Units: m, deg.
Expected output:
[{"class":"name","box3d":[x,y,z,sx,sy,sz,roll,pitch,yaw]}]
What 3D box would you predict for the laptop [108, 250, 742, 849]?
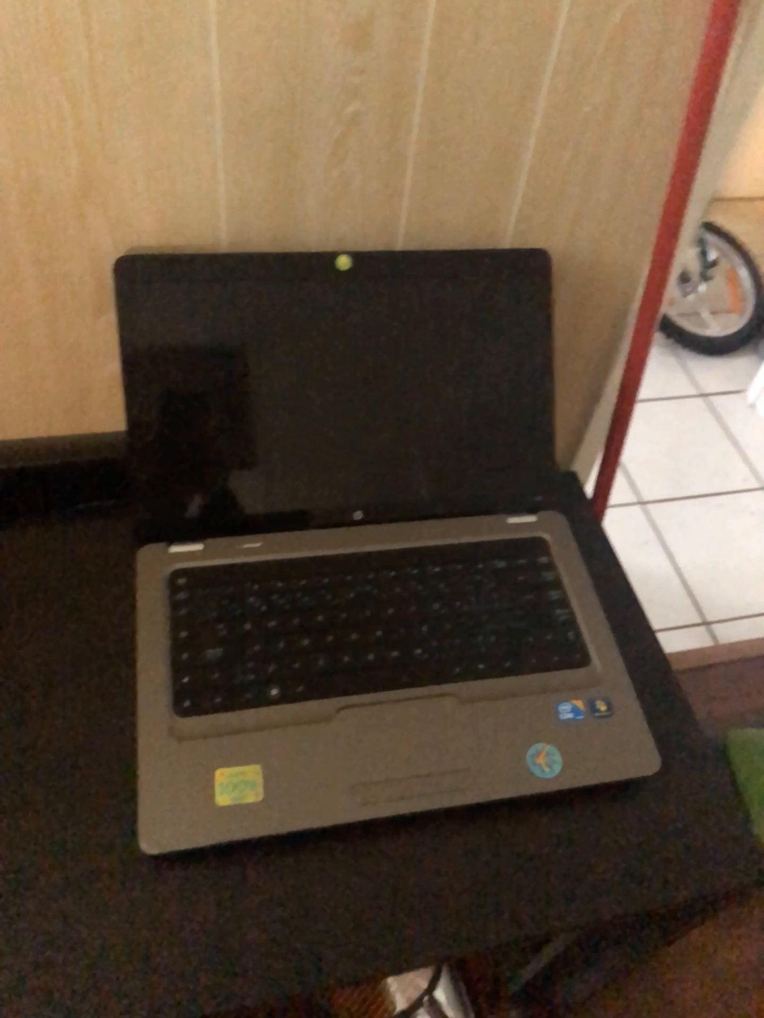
[{"class":"laptop","box3d":[-0.006,-0.005,0.649,0.363,0.154,0.420,-4,52,-11]}]
